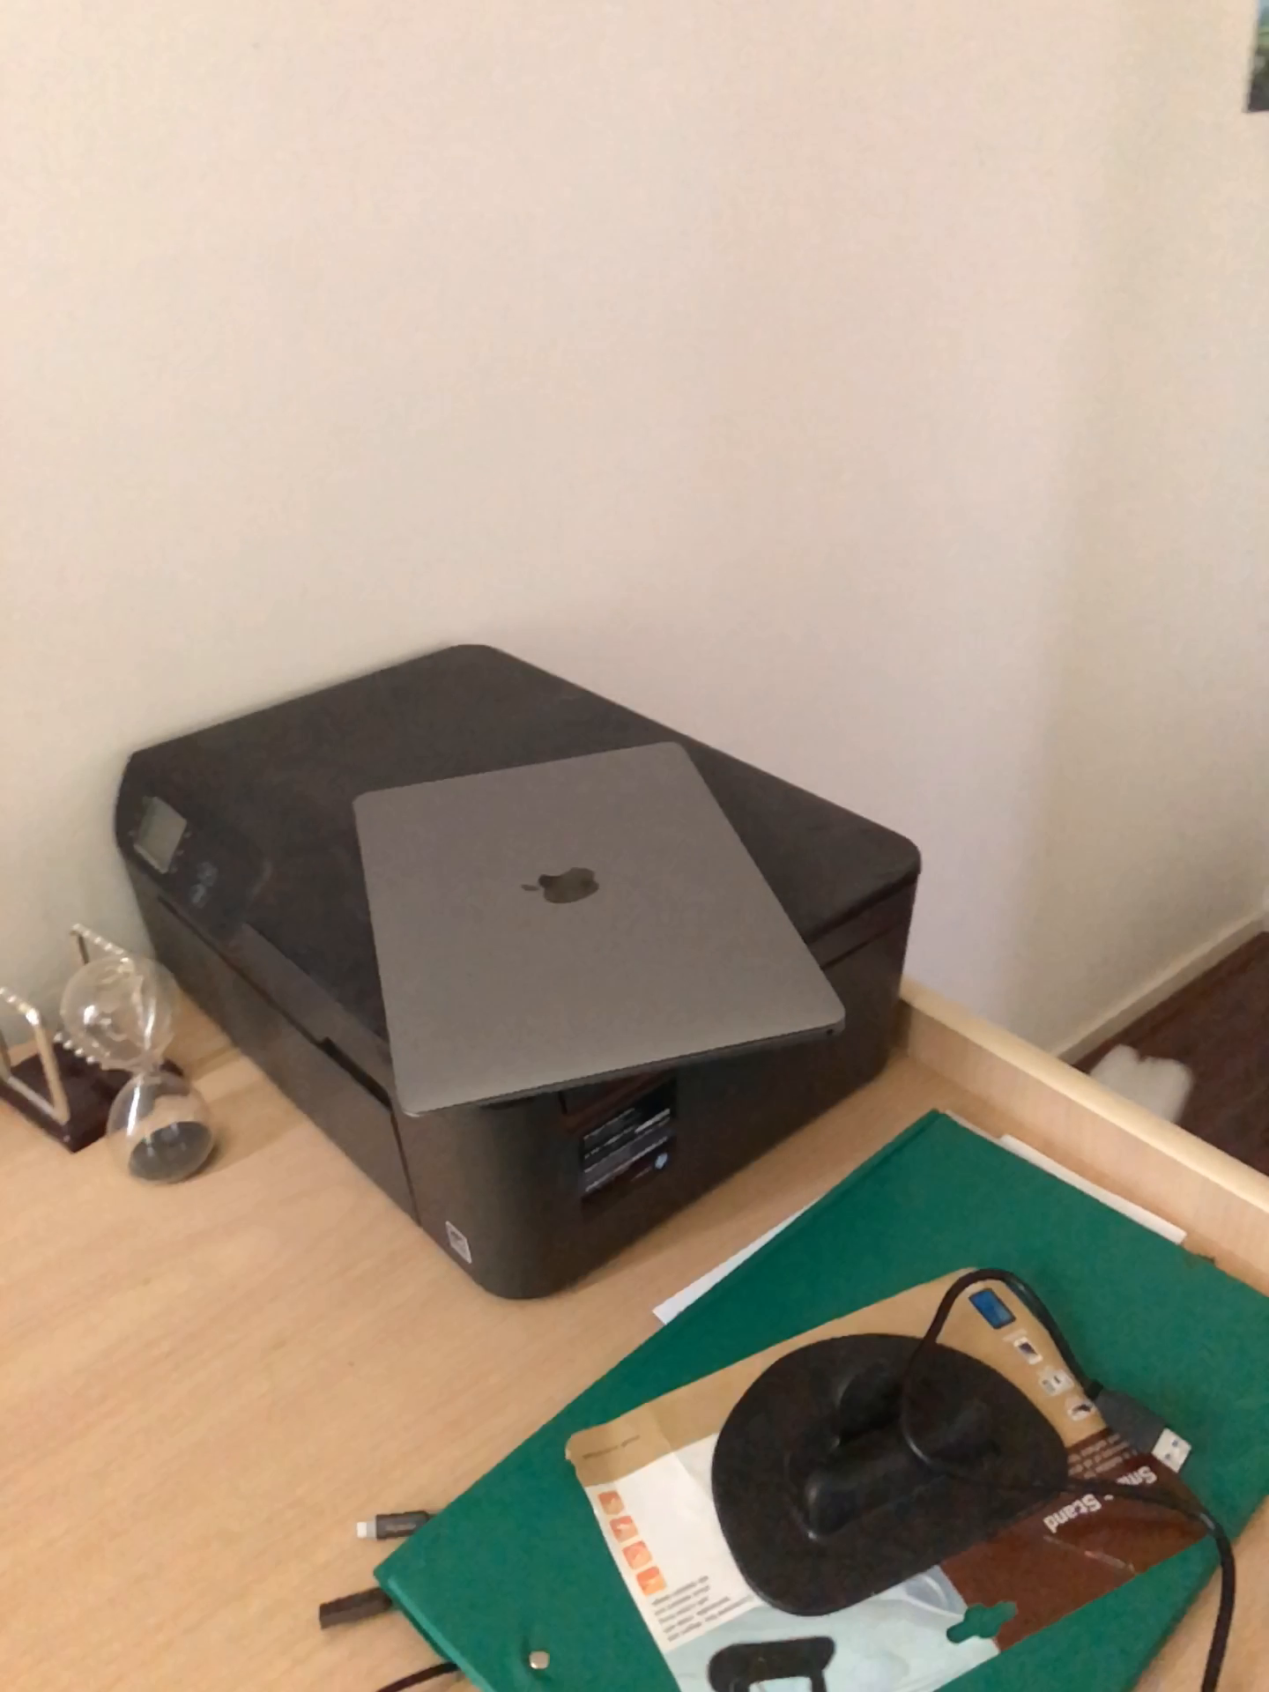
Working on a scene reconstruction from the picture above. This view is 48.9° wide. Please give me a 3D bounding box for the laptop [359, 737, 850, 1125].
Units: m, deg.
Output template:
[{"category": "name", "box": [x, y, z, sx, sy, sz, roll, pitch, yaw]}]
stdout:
[{"category": "laptop", "box": [-0.031, 0.025, 0.689, 0.188, 0.007, 0.267, -11, 33, -9]}]
